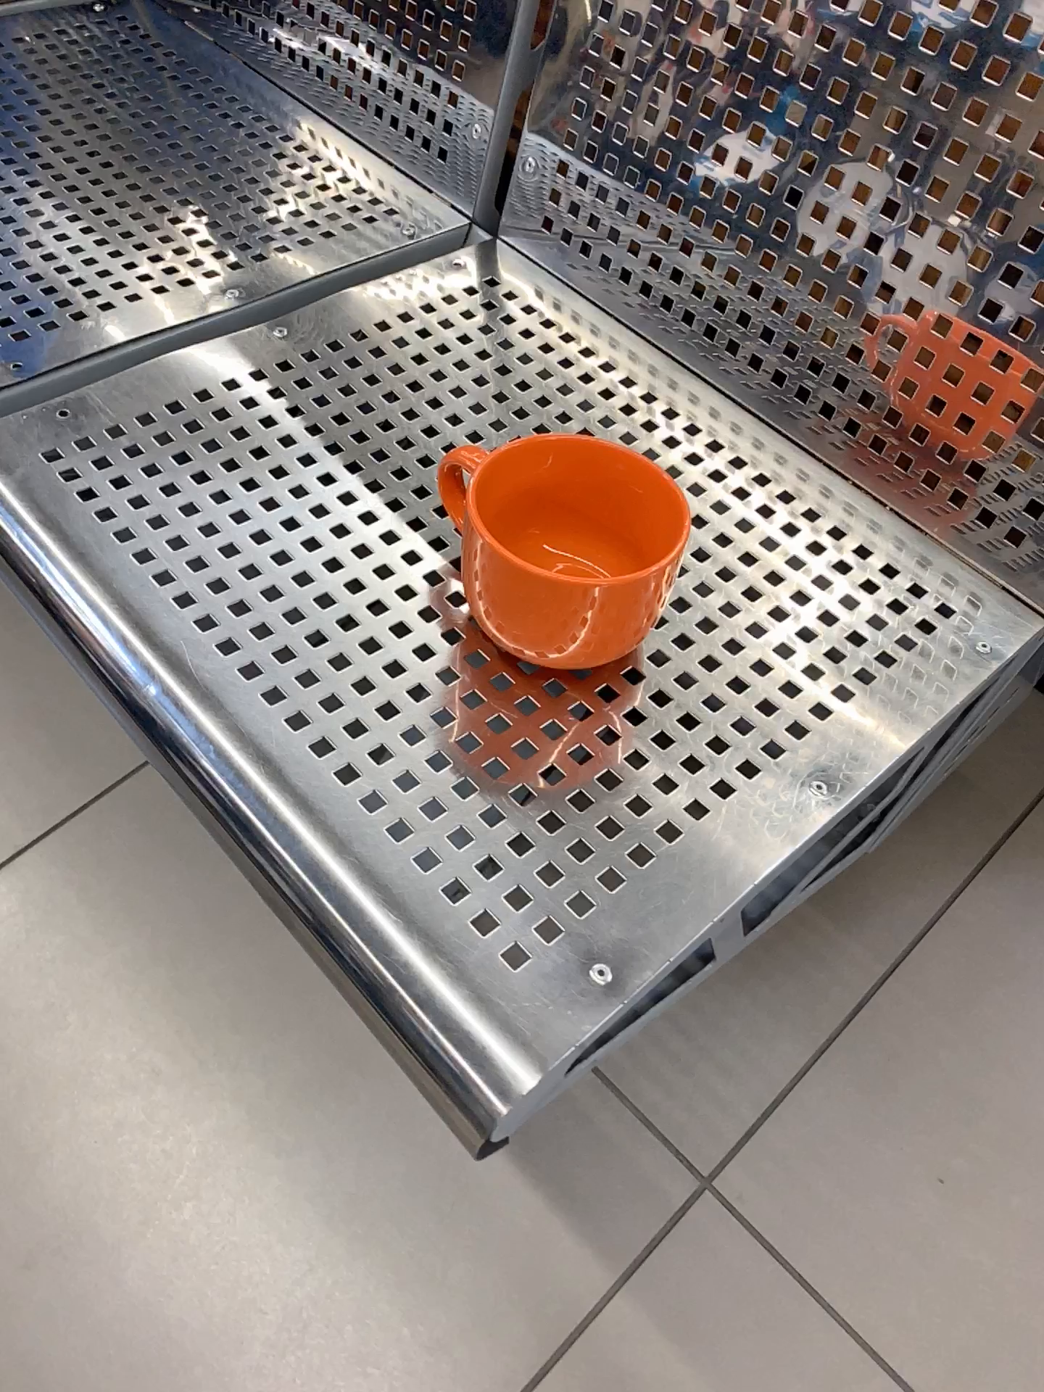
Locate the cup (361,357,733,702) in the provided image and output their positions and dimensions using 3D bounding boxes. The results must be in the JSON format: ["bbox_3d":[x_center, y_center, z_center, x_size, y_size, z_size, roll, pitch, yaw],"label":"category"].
[{"bbox_3d":[0.008,-0.091,0.552,0.110,0.070,0.150,-33,63,-32],"label":"cup"}]
